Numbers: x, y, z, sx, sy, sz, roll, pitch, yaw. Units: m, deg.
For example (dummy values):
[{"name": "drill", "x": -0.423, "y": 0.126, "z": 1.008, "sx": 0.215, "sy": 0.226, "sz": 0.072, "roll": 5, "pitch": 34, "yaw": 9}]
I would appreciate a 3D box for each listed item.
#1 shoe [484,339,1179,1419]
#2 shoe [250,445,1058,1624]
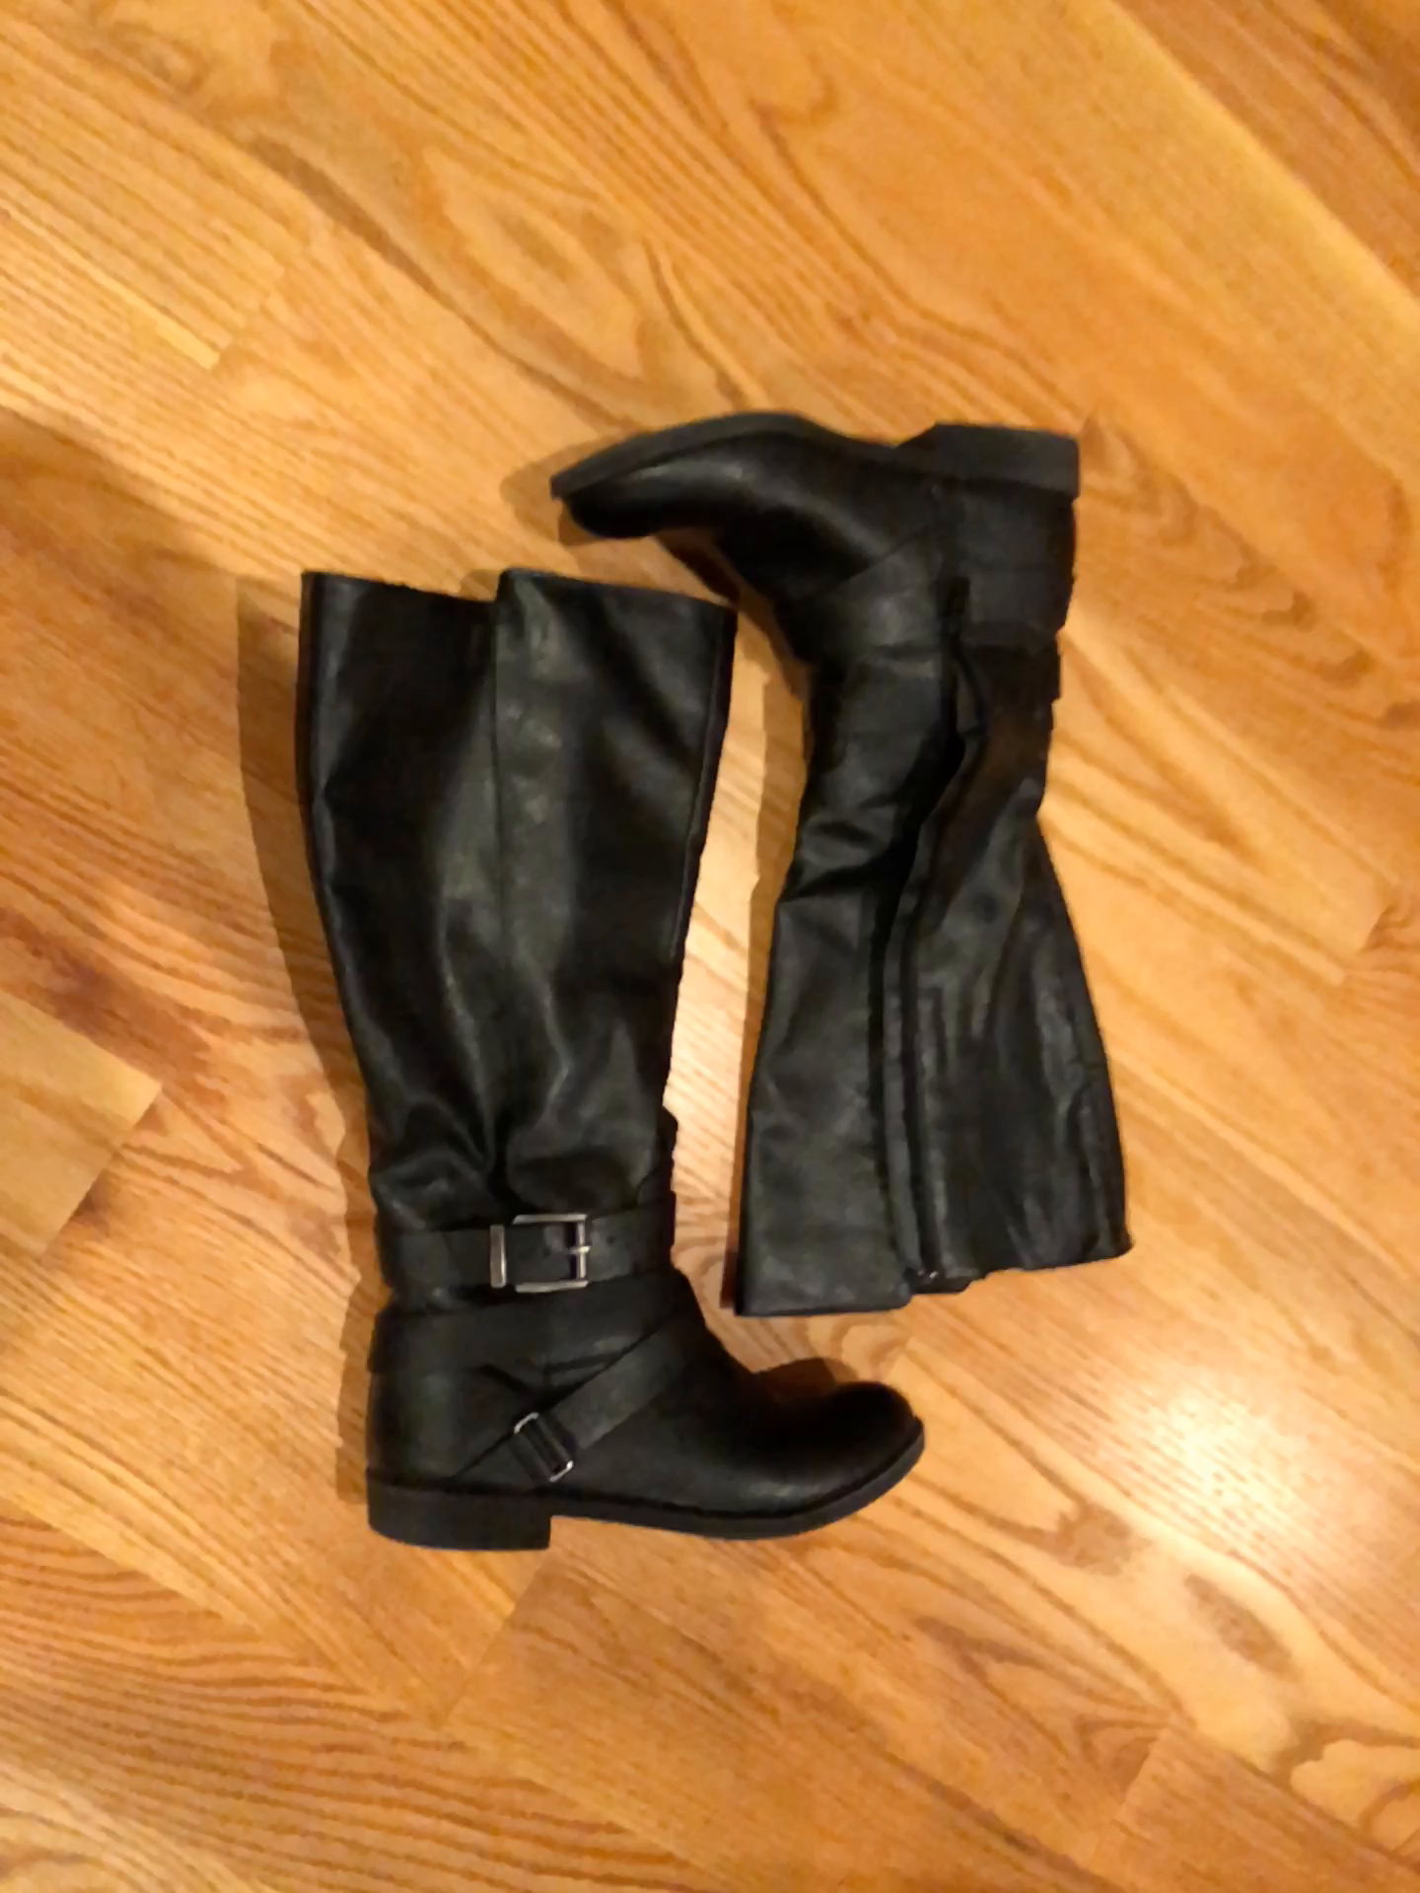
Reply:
[{"name": "shoe", "x": 0.050, "y": -0.018, "z": 0.648, "sx": 0.250, "sy": 0.094, "sz": 0.393, "roll": 4, "pitch": 89, "yaw": -18}, {"name": "shoe", "x": -0.024, "y": 0.035, "z": 0.625, "sx": 0.290, "sy": 0.104, "sz": 0.403, "roll": 2, "pitch": 90, "yaw": -18}]
